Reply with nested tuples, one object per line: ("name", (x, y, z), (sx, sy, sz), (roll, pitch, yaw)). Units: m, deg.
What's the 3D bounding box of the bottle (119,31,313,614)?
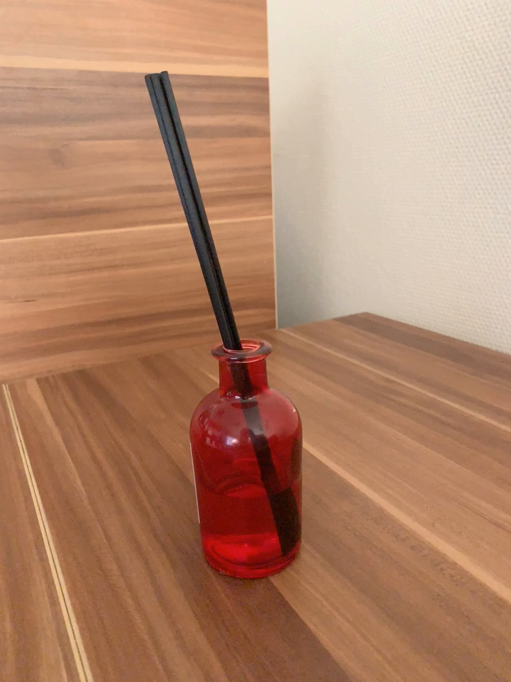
("bottle", (-0.013, 0.001, 0.243), (0.060, 0.239, 0.050), (-10, 19, -22))
